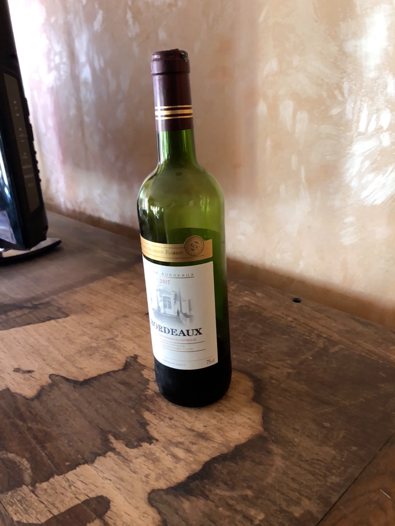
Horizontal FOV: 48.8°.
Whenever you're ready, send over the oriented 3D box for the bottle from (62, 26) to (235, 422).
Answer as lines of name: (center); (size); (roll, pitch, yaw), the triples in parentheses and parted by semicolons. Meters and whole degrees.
bottle: (-0.026, -0.023, 0.356); (0.090, 0.289, 0.080); (6, 23, 22)
